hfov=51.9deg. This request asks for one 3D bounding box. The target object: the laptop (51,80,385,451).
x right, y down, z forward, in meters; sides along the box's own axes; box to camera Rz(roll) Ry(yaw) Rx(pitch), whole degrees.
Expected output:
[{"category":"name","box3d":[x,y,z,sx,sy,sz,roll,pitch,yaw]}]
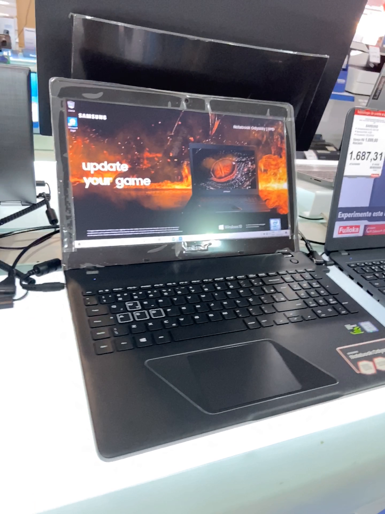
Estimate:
[{"category":"laptop","box3d":[0.045,-0.051,0.478,0.374,0.202,0.392,-4,33,-23]}]
